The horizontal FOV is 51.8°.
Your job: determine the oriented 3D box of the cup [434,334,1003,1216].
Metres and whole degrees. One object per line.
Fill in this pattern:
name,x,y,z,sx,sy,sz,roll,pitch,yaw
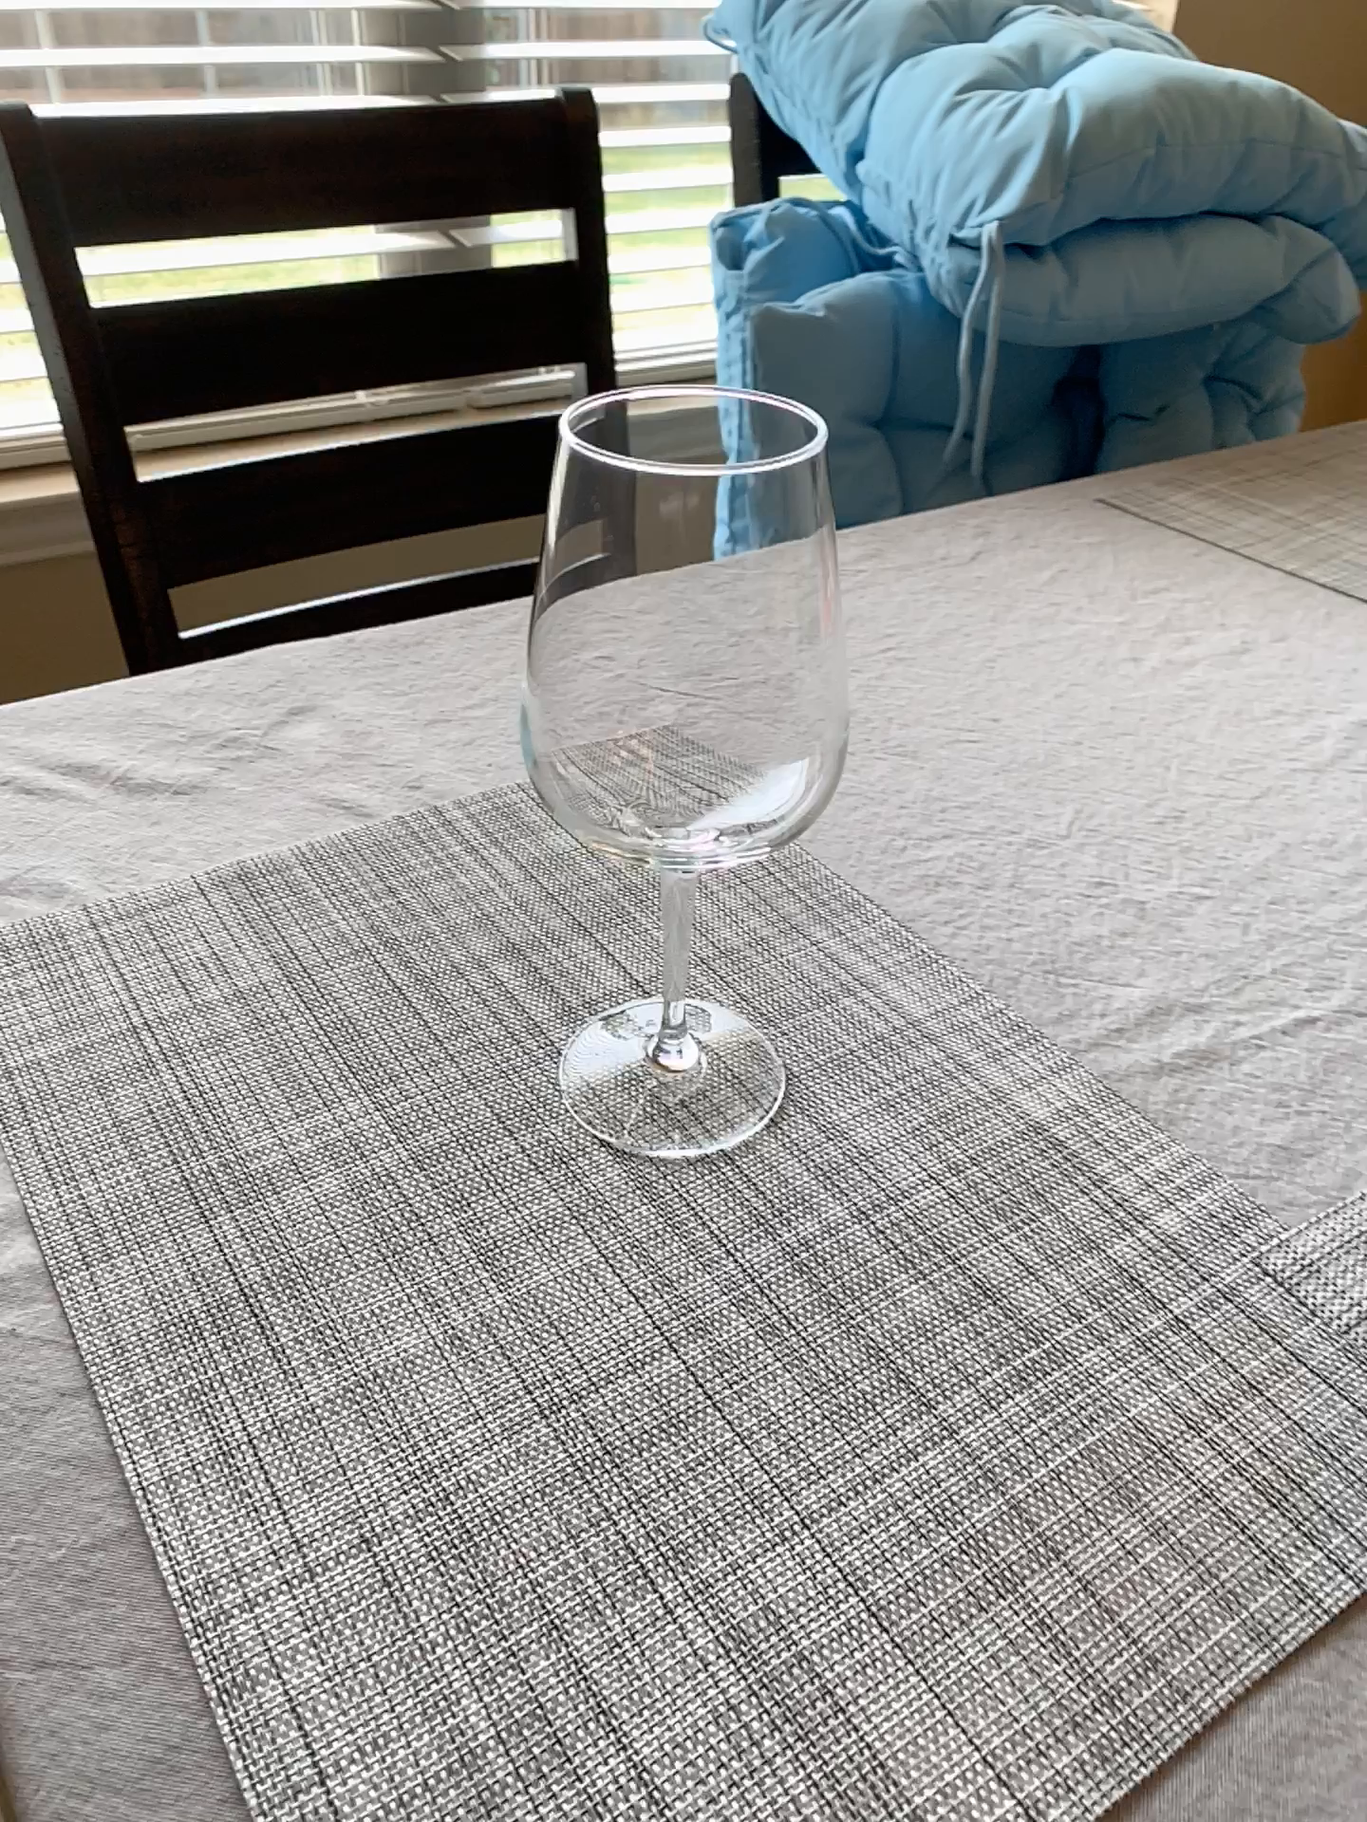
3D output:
cup,0.001,-0.038,0.410,0.100,0.214,0.108,2,36,-1
